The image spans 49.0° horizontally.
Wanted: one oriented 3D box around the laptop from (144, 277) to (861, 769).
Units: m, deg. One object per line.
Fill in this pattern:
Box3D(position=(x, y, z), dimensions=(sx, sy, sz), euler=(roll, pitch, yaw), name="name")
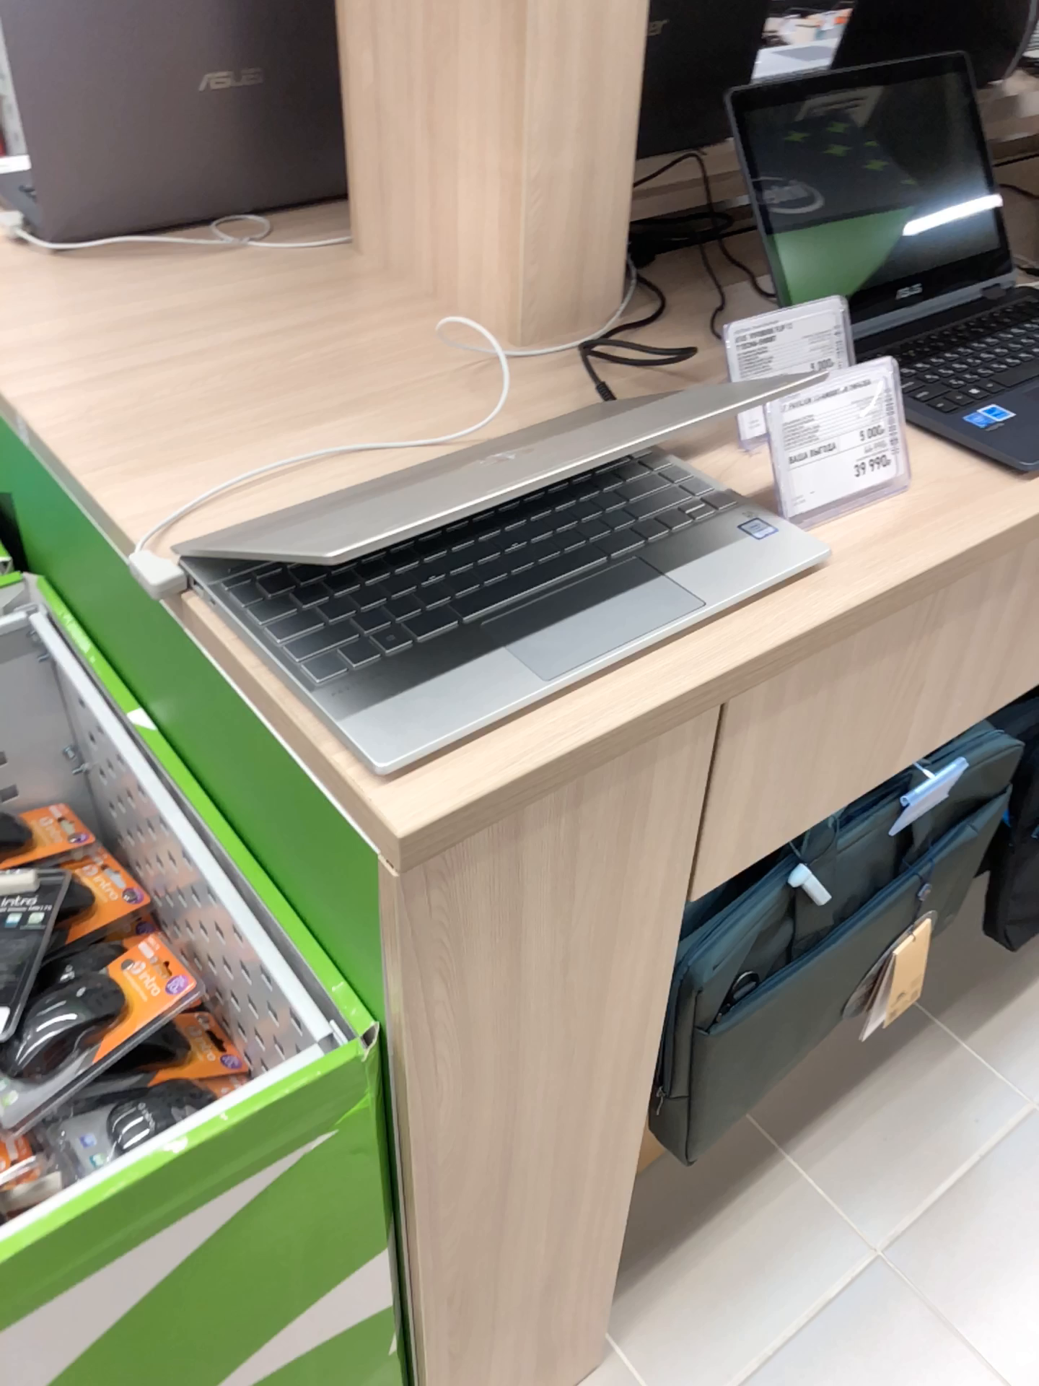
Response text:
Box3D(position=(-0.005, -0.118, 0.637), dimensions=(0.322, 0.095, 0.206), euler=(-25, 48, -28), name="laptop")
